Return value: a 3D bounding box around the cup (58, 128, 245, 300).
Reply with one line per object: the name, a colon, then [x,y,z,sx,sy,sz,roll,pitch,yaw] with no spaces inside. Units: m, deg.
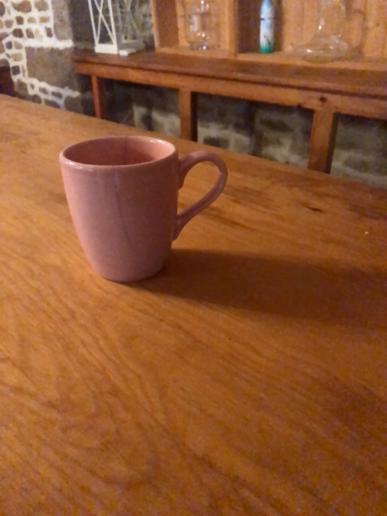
cup: [-0.036,-0.043,0.349,0.121,0.095,0.090,-11,31,-19]
